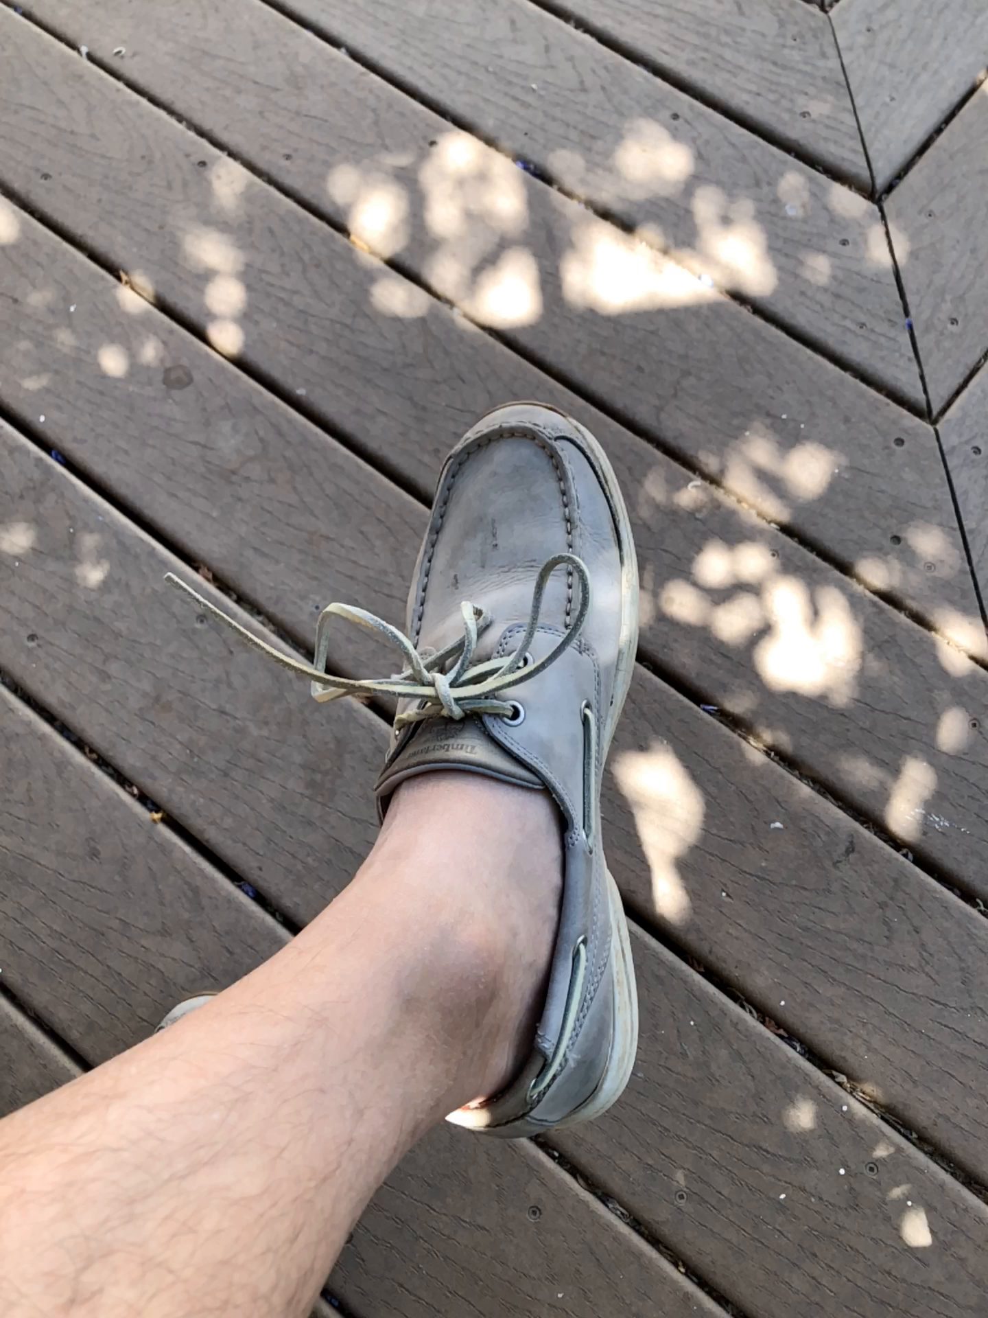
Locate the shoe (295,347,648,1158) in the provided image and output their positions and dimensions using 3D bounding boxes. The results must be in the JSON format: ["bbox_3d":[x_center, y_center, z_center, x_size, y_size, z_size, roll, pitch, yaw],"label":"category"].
[{"bbox_3d":[-0.003,0.039,0.492,0.110,0.092,0.323,-10,69,34],"label":"shoe"}]
